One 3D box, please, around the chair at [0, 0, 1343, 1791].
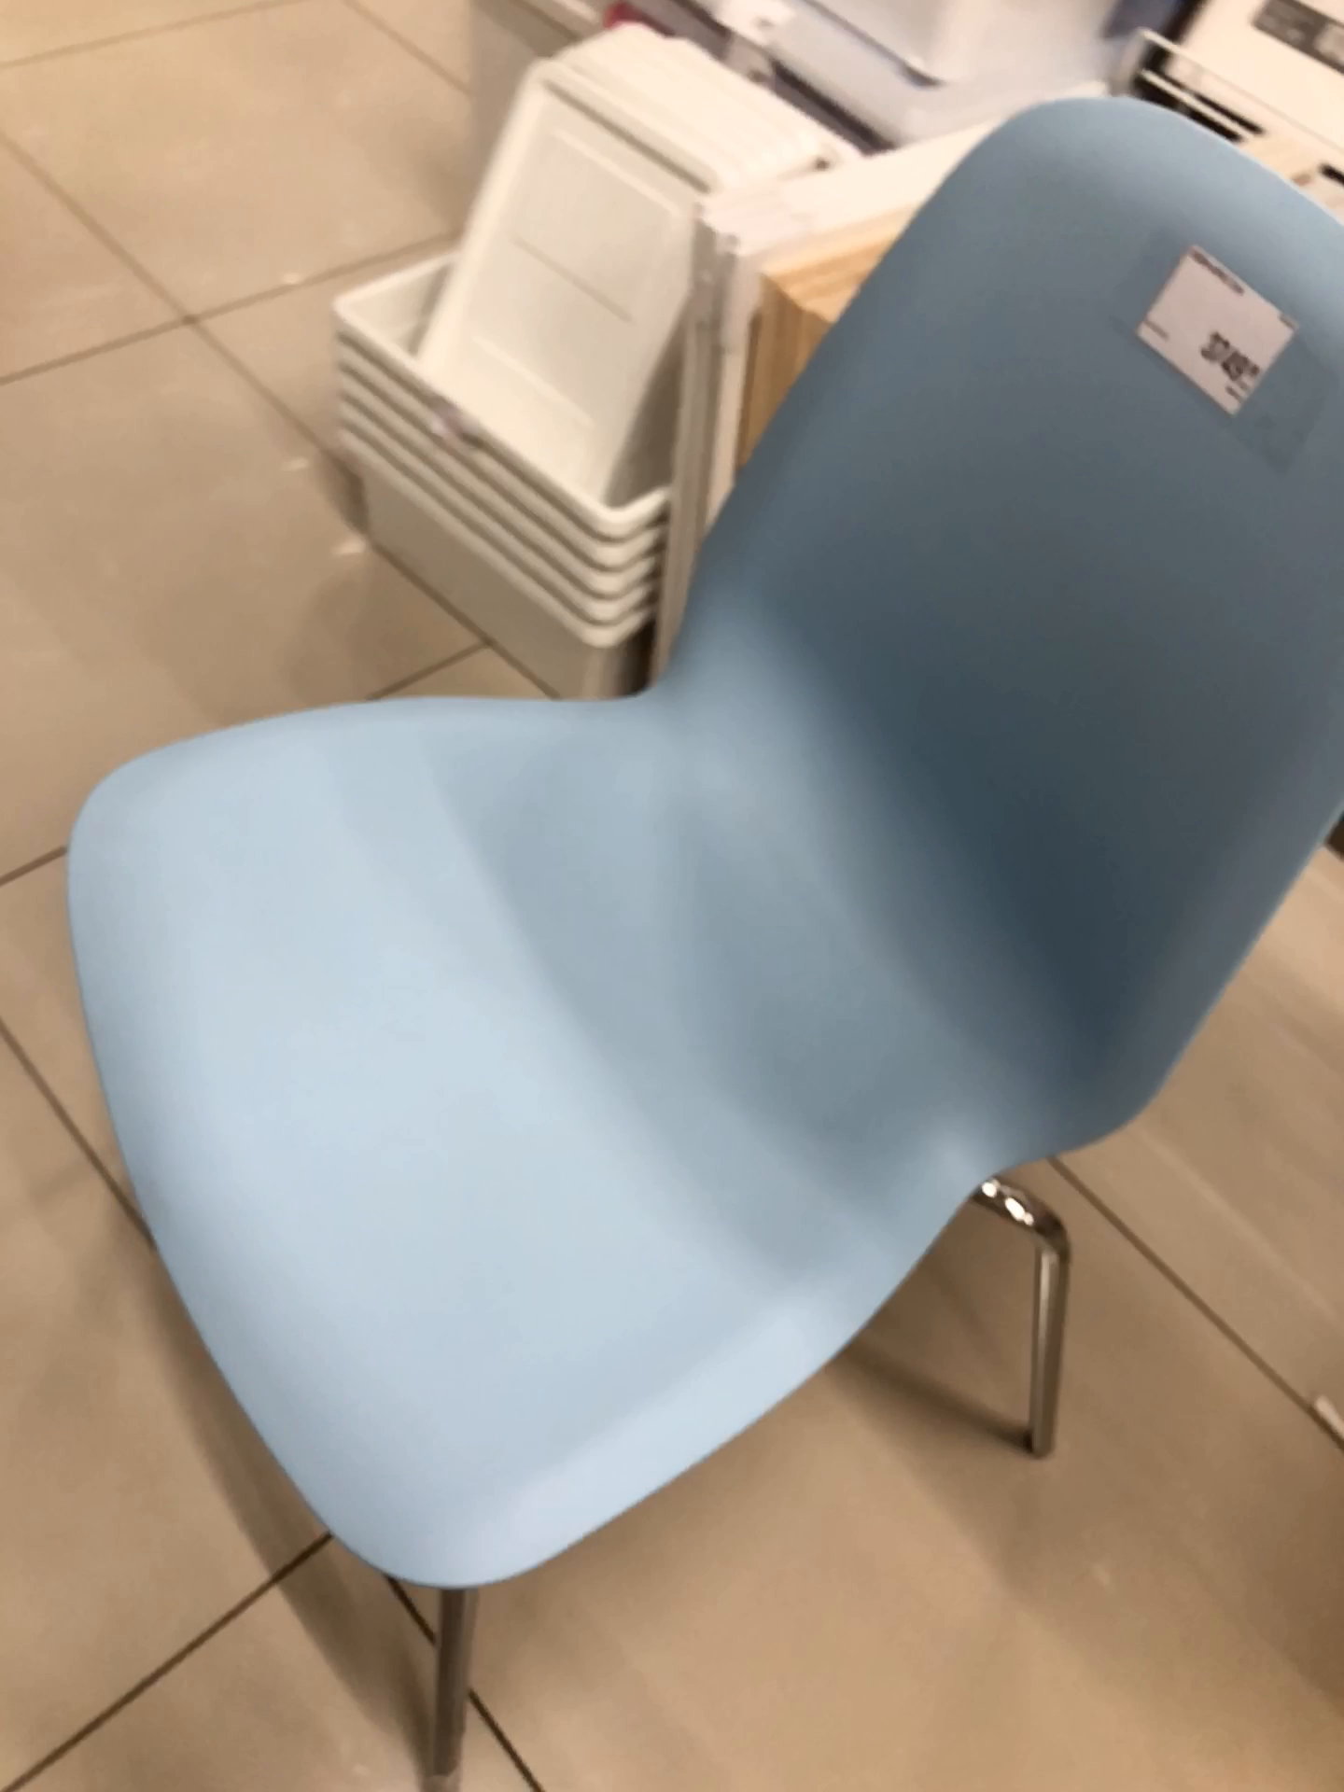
[{"bbox_3d":[-0.010,0.045,0.788,0.542,0.756,0.562,-24,61,-24],"label":"chair"}]
